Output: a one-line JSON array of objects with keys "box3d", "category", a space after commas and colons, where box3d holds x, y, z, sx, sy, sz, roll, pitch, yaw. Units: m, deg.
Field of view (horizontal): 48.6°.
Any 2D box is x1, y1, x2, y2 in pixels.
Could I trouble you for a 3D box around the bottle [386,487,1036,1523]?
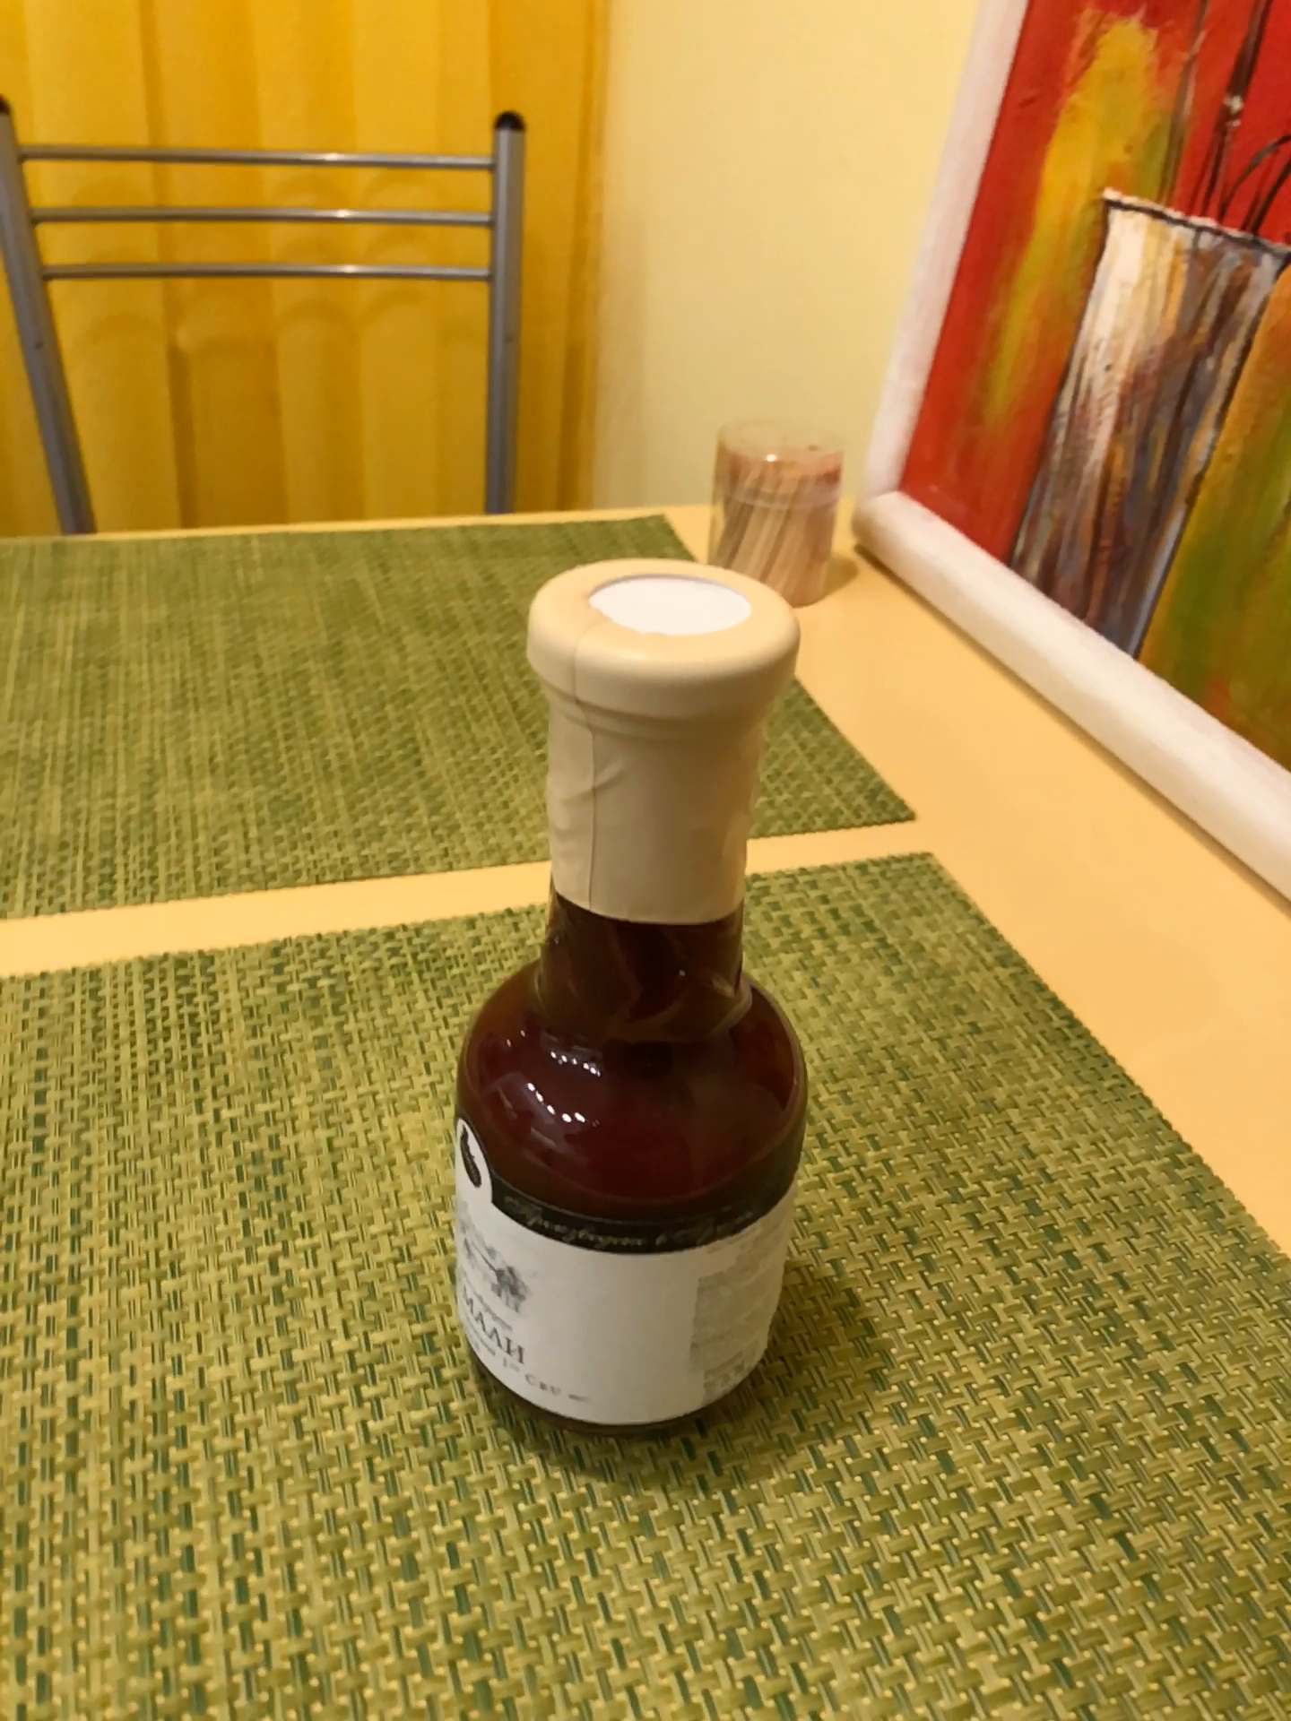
[{"box3d": [0.002, 0.027, 0.252, 0.070, 0.159, 0.070, 3, 33, -2], "category": "bottle"}]
